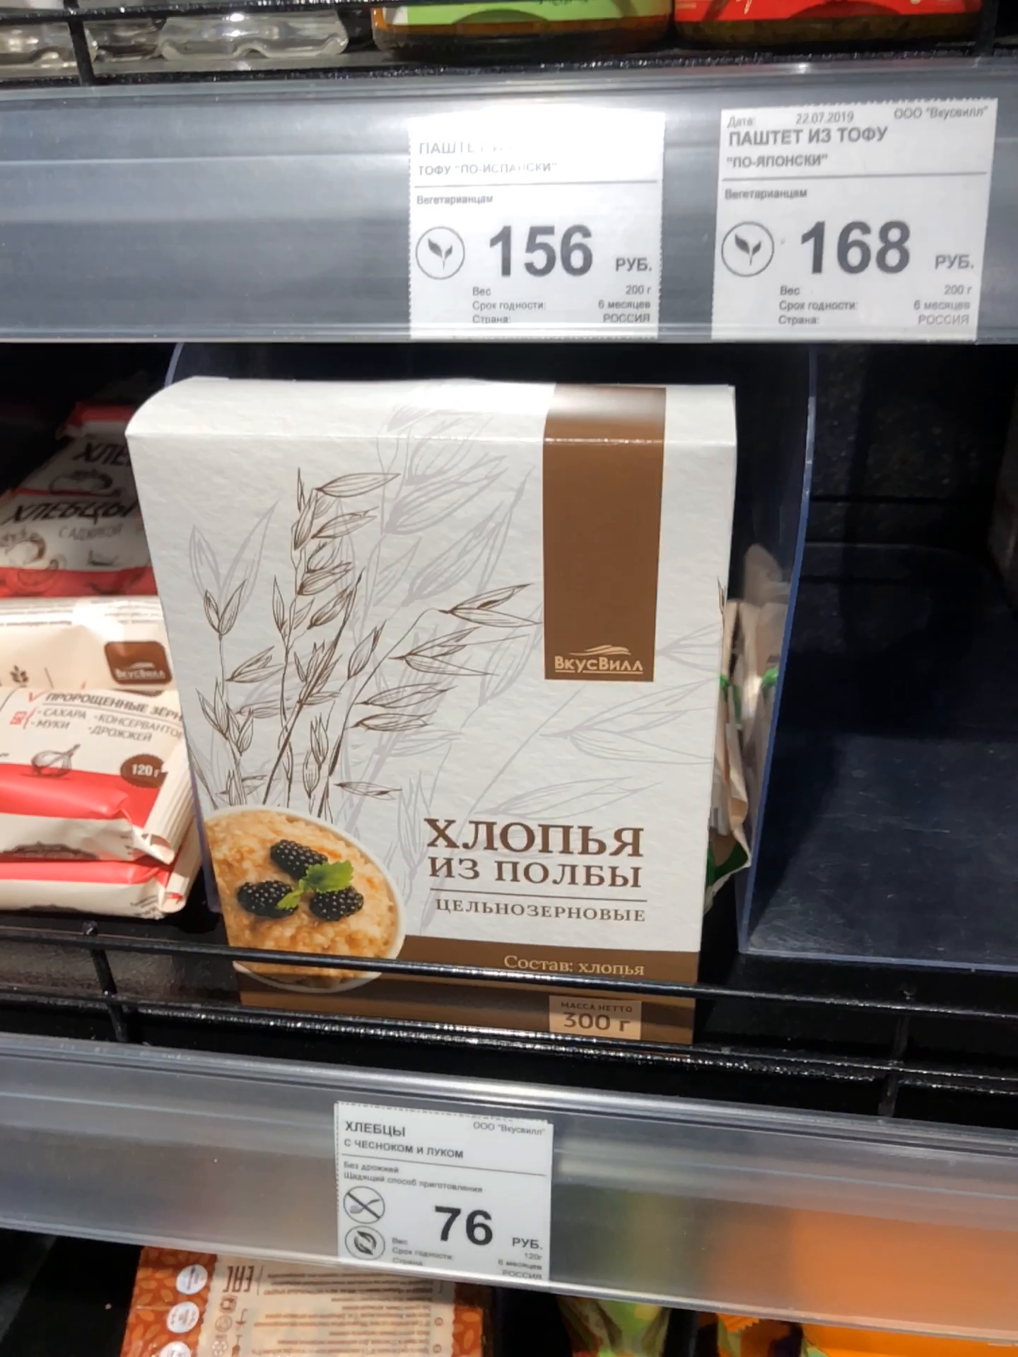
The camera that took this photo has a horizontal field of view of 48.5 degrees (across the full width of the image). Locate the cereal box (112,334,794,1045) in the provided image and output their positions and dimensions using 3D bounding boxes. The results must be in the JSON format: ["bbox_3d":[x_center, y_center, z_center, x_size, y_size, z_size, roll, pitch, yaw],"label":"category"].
[{"bbox_3d":[-0.009,0.007,0.312,0.150,0.189,0.050,3,30,8],"label":"cereal box"}]
